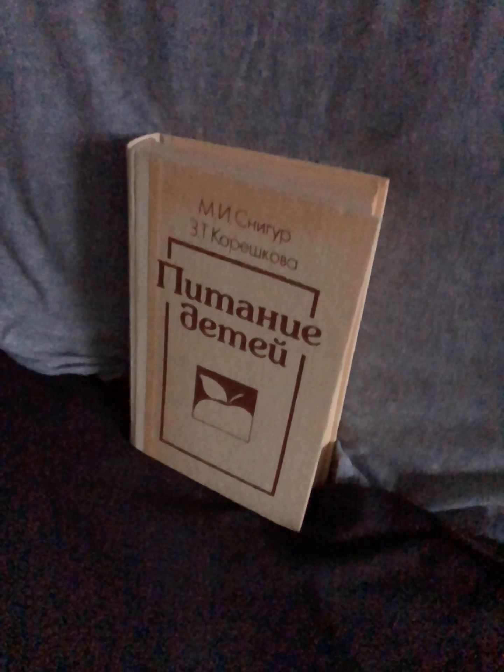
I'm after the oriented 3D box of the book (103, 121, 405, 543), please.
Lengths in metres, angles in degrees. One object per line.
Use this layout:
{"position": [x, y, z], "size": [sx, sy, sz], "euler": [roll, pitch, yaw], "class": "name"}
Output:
{"position": [-0.010, 0.005, 0.328], "size": [0.144, 0.219, 0.041], "euler": [21, 36, 22], "class": "book"}
